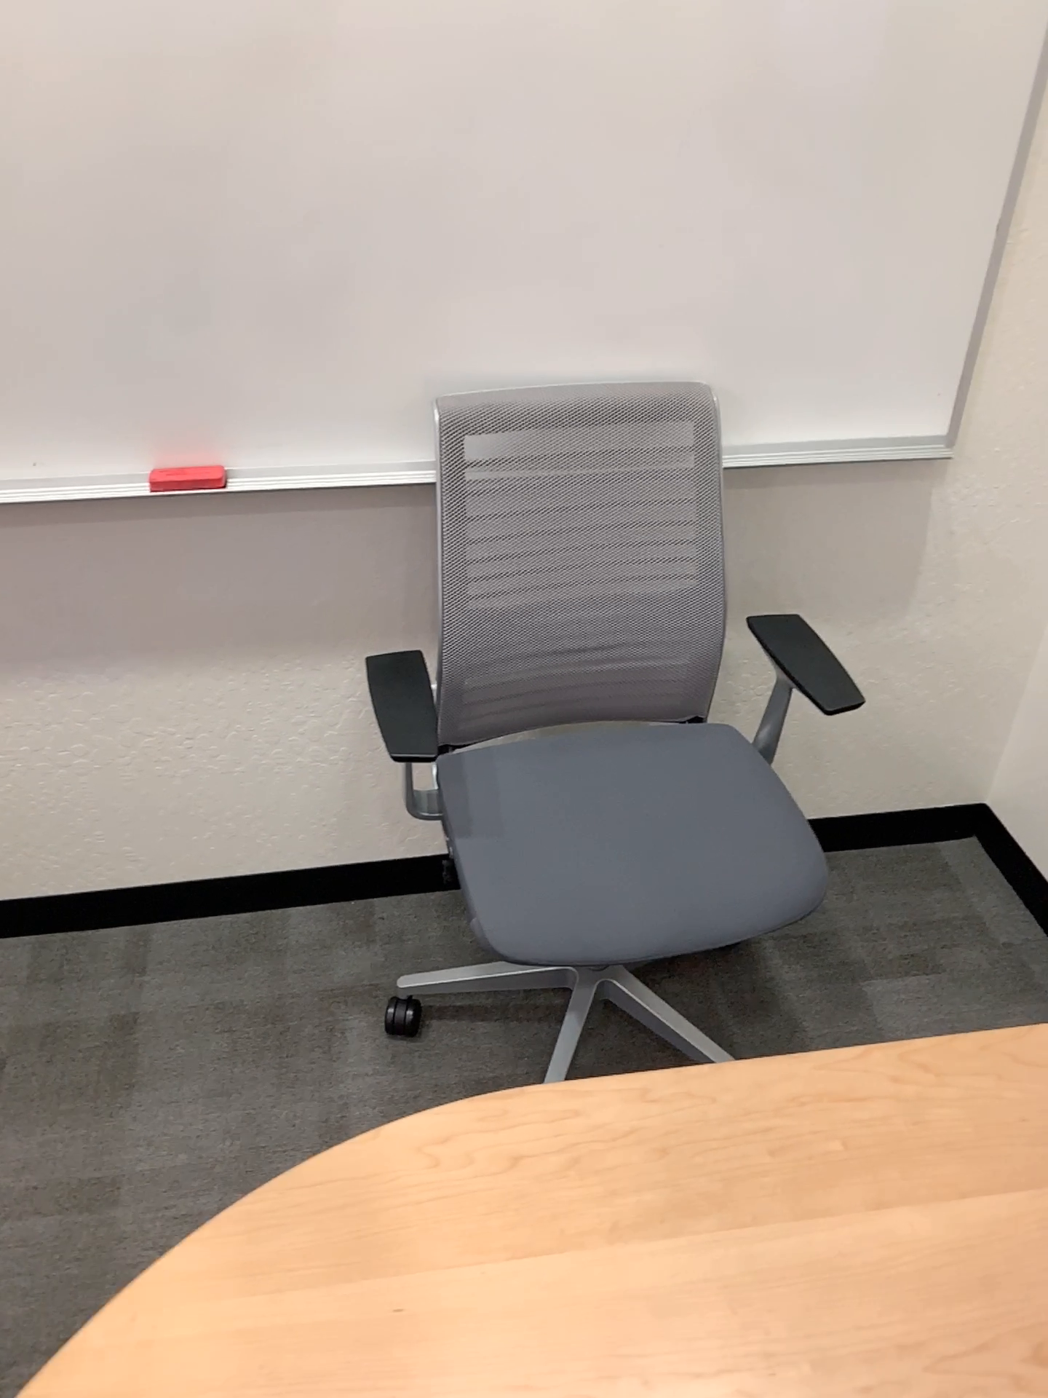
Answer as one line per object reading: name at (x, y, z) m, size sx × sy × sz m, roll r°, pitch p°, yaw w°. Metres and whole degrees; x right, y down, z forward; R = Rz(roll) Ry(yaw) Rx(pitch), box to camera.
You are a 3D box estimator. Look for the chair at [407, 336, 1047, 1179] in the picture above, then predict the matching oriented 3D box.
chair at (0.233, 0.090, 1.957) m, size 0.760 × 1.263 × 0.755 m, roll -6°, pitch 33°, yaw -11°
